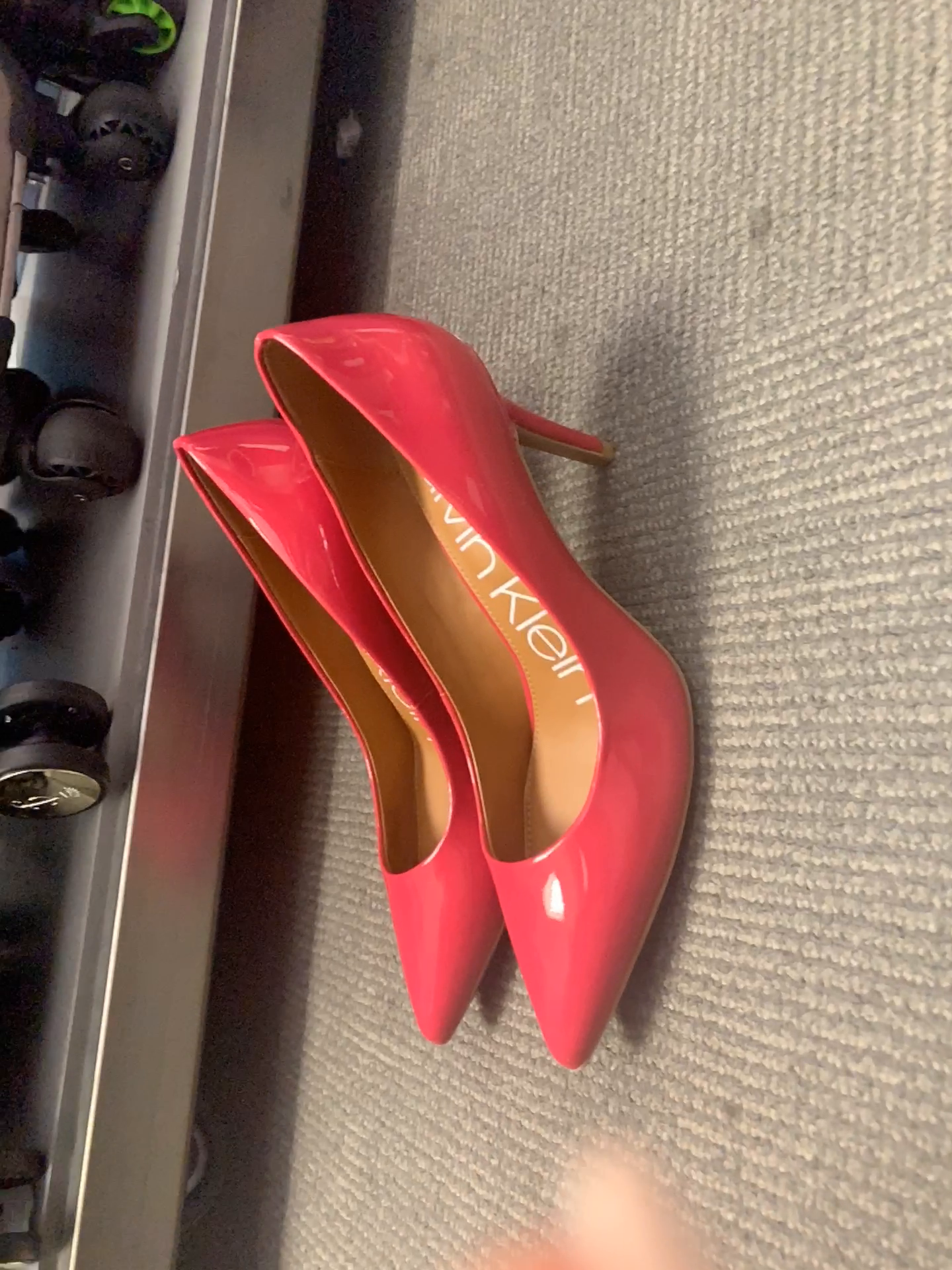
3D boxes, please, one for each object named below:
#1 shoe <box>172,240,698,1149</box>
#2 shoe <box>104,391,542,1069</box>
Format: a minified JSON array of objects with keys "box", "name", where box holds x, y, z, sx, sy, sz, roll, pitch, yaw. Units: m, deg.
[{"box":[-0.011,0.017,0.289,0.074,0.120,0.216,-21,65,55],"name":"shoe"},{"box":[-0.052,0.037,0.361,0.075,0.129,0.208,-21,65,55],"name":"shoe"}]
